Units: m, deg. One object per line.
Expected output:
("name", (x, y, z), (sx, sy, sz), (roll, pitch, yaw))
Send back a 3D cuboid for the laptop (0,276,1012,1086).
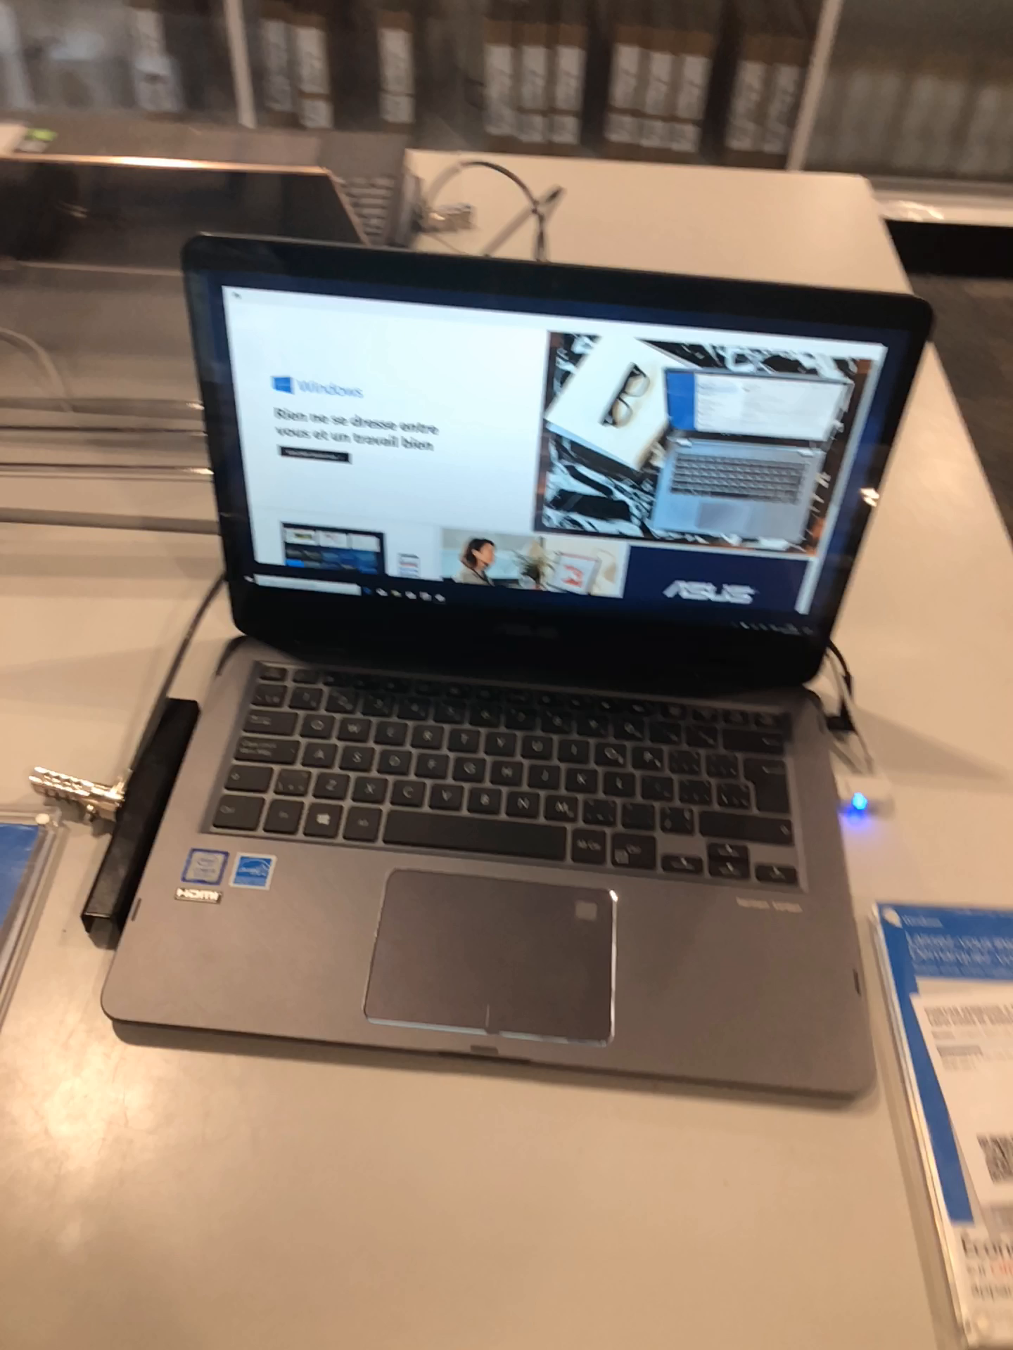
("laptop", (0.003, -0.001, 0.449), (0.302, 0.217, 0.225), (5, 45, 3))
